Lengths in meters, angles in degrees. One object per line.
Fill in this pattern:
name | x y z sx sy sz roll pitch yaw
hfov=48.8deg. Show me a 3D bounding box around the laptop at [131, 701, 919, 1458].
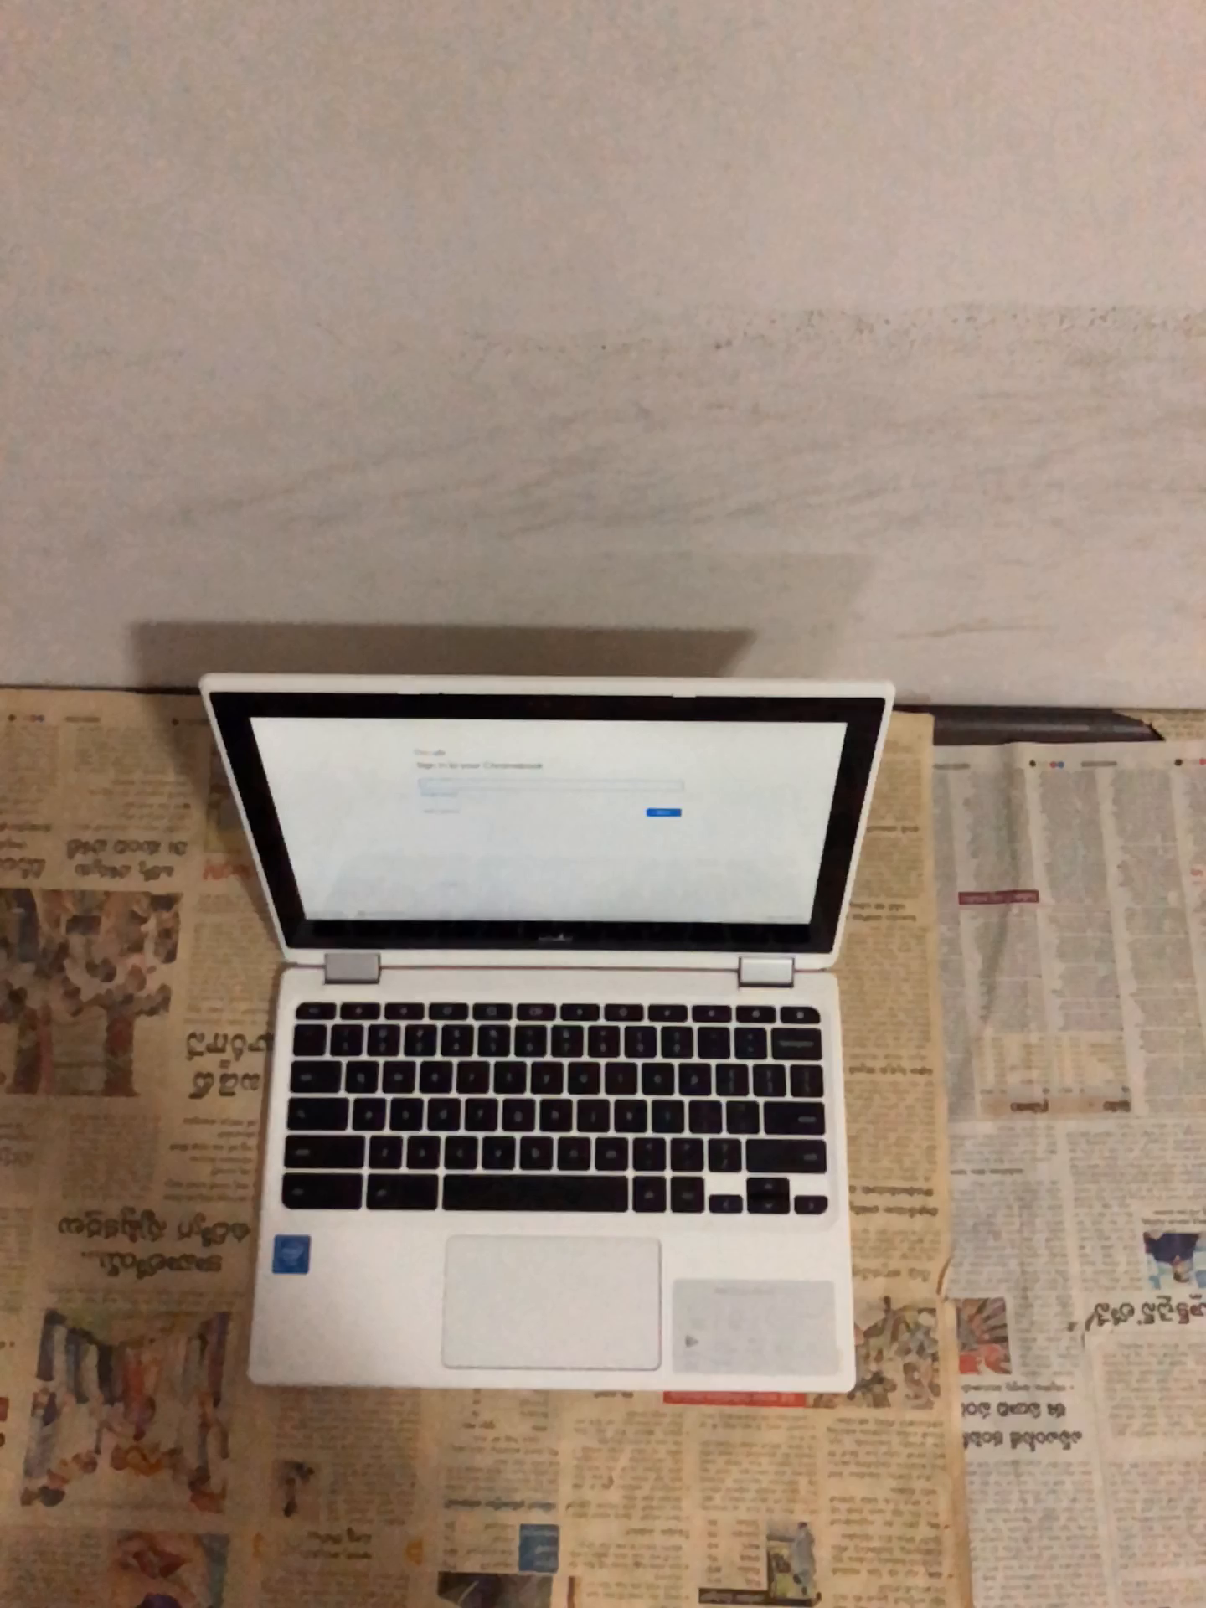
laptop | -0.024 0.114 0.577 0.268 0.168 0.278 0 72 1
